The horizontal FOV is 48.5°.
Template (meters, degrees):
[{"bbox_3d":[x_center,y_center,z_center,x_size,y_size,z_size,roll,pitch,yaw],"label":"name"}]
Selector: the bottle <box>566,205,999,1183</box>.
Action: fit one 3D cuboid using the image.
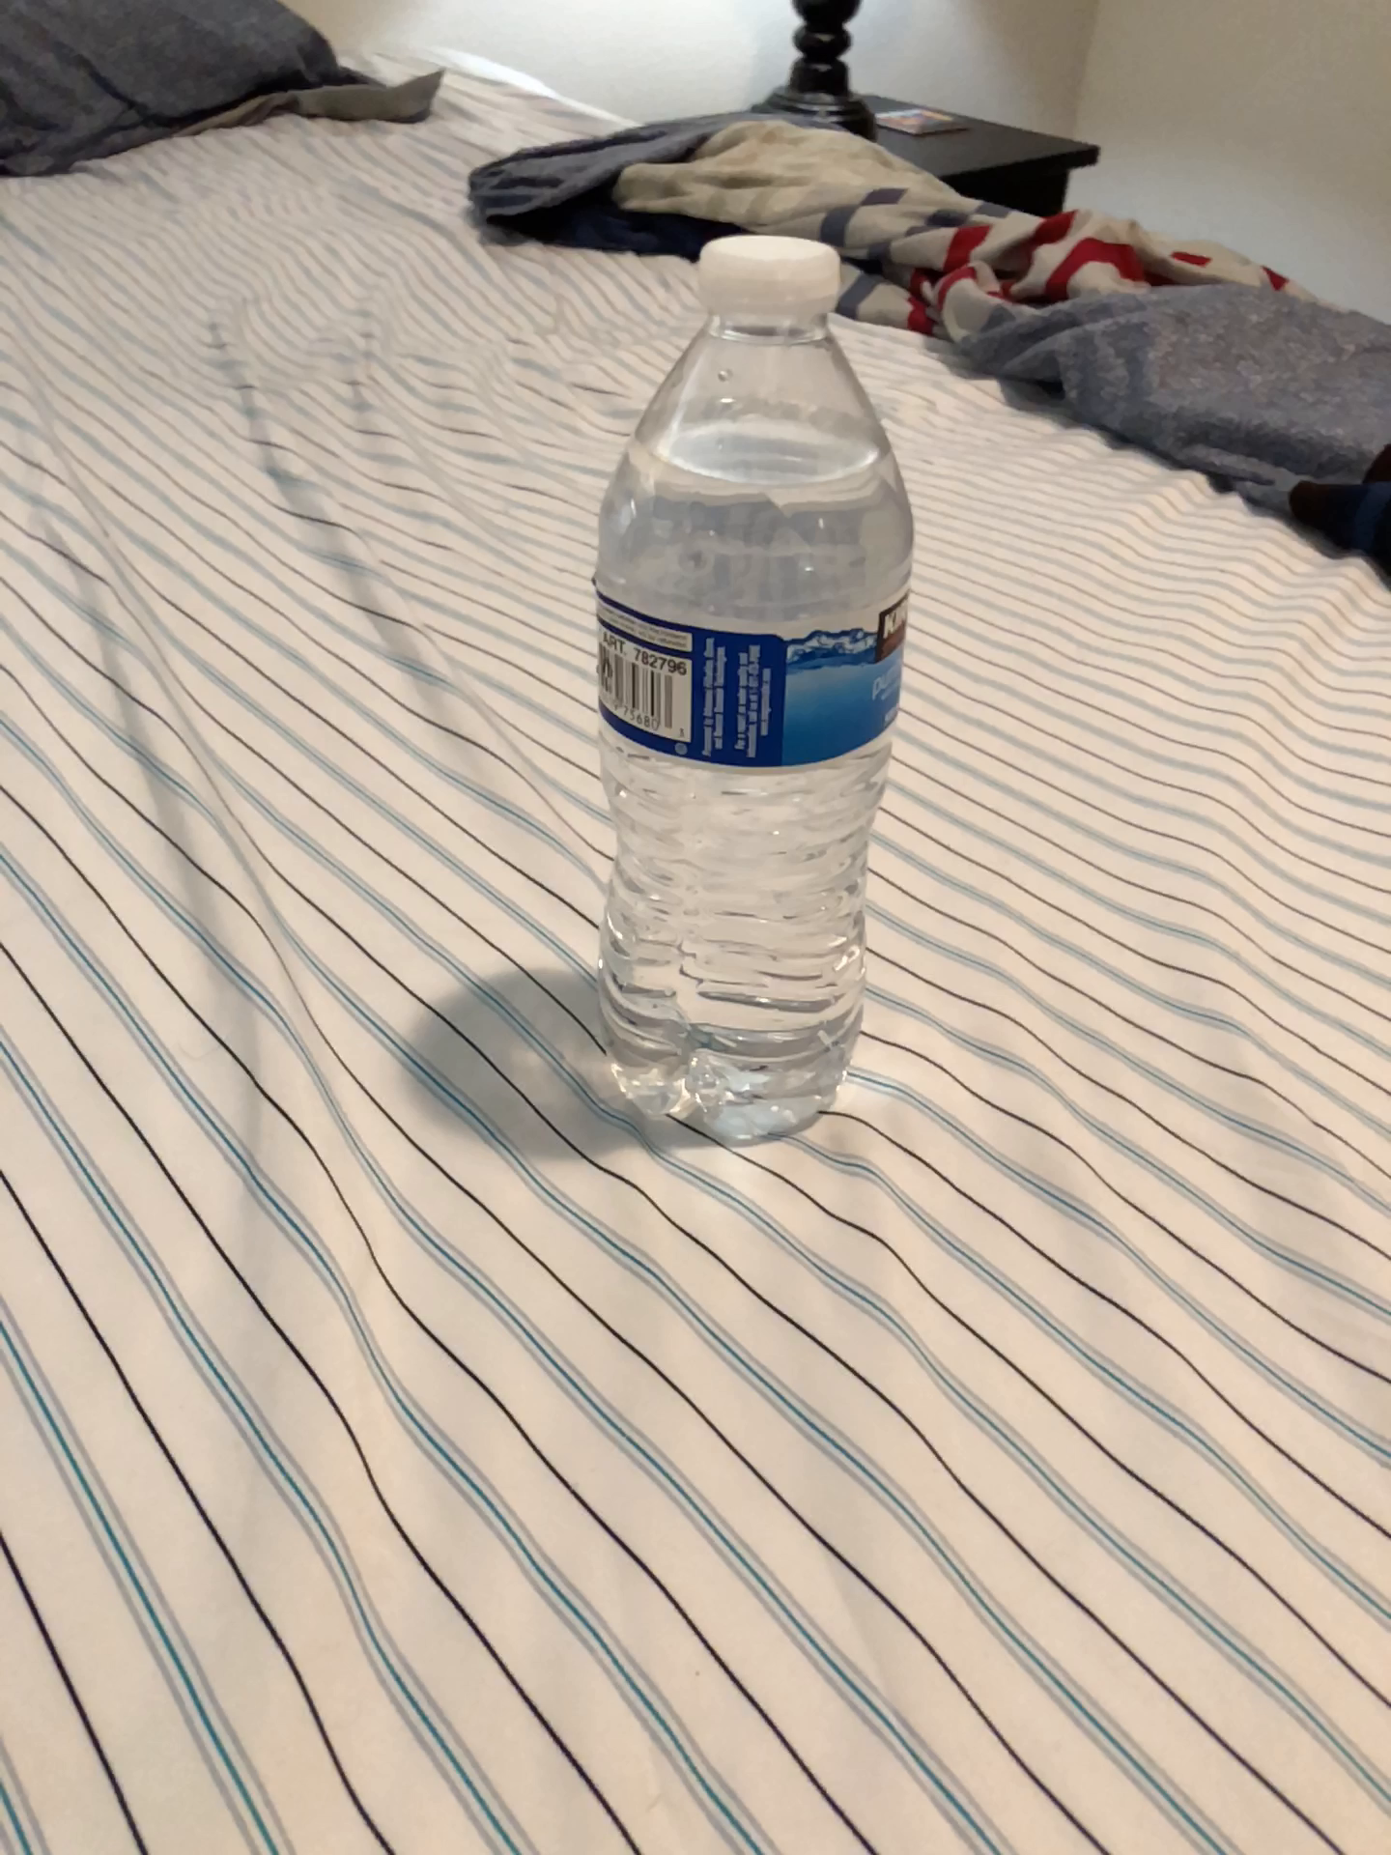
[{"bbox_3d":[0.014,-0.043,0.346,0.070,0.199,0.070,3,38,-2],"label":"bottle"}]
